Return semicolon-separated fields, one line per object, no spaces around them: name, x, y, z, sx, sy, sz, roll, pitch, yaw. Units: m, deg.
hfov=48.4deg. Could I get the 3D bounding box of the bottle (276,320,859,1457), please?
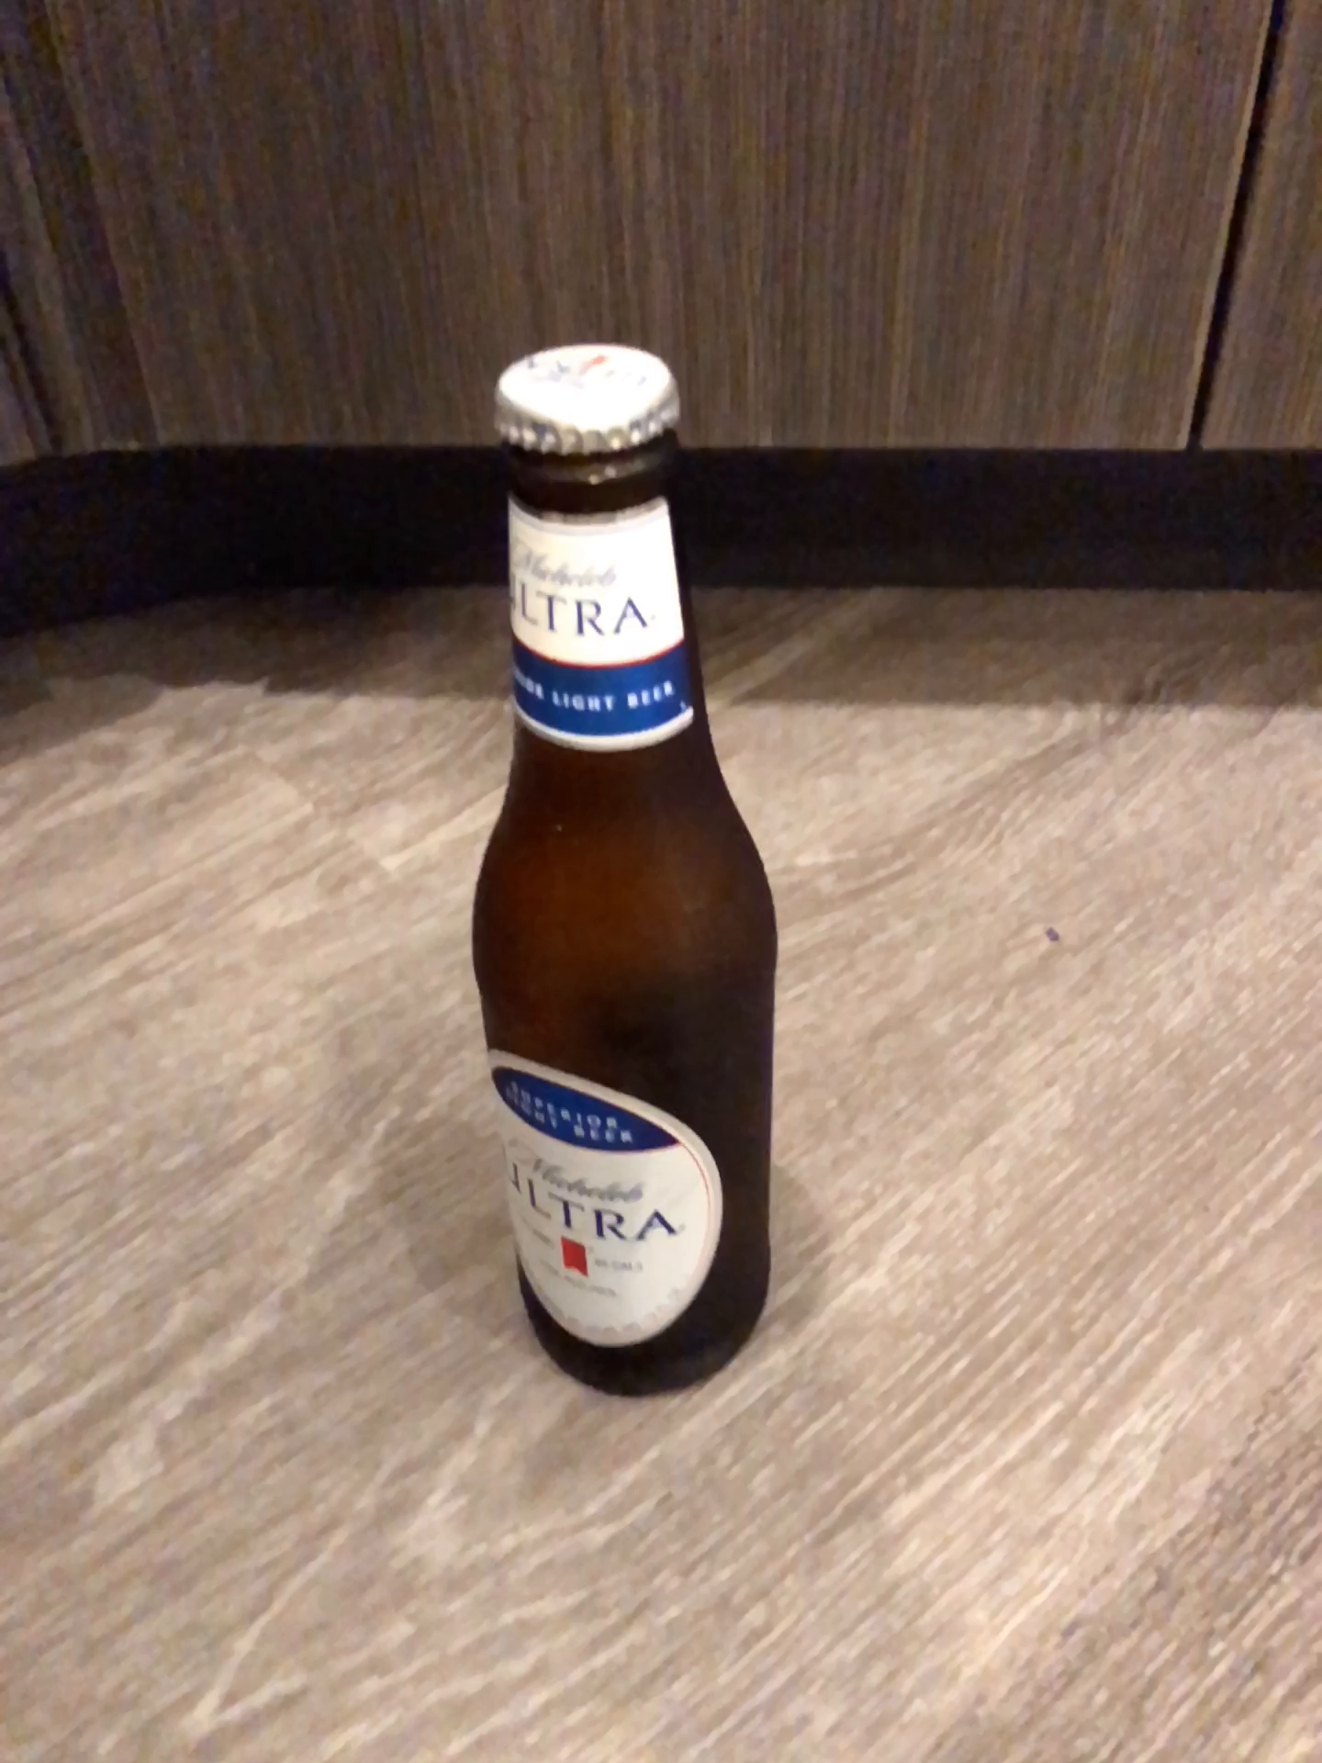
bottle;-0.008;0.014;0.277;0.060;0.209;0.060;-2;39;1
